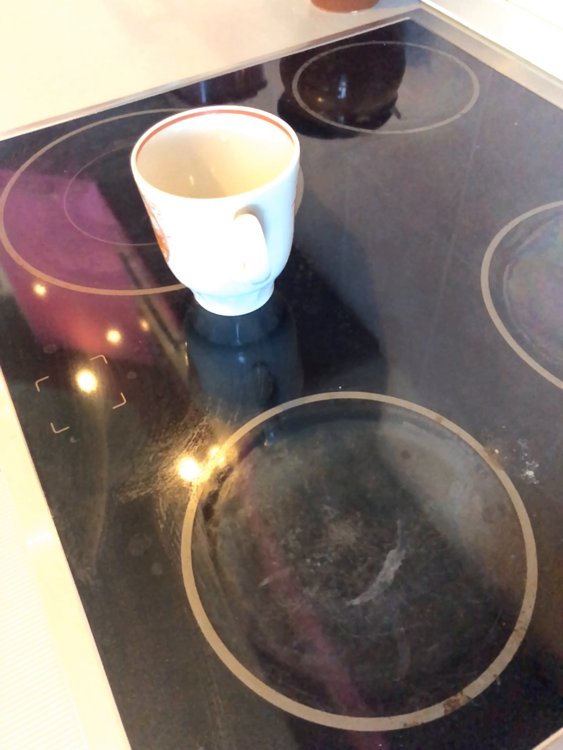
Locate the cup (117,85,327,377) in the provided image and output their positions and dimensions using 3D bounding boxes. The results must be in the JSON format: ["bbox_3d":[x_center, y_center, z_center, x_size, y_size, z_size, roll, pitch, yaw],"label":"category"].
[{"bbox_3d":[-0.034,-0.080,0.340,0.090,0.090,0.120,-8,52,-5],"label":"cup"}]
